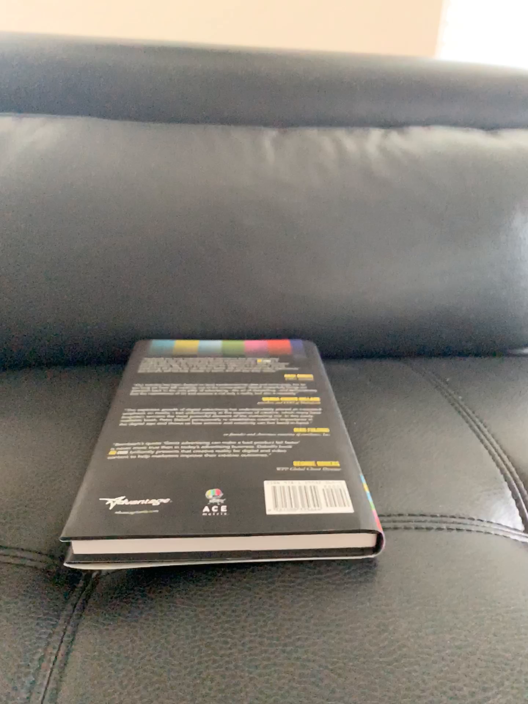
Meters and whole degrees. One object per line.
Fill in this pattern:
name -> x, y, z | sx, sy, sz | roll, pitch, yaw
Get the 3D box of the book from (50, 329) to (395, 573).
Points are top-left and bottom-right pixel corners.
book -> -0.025, 0.043, 0.371 | 0.160, 0.030, 0.238 | 0, 24, -3
